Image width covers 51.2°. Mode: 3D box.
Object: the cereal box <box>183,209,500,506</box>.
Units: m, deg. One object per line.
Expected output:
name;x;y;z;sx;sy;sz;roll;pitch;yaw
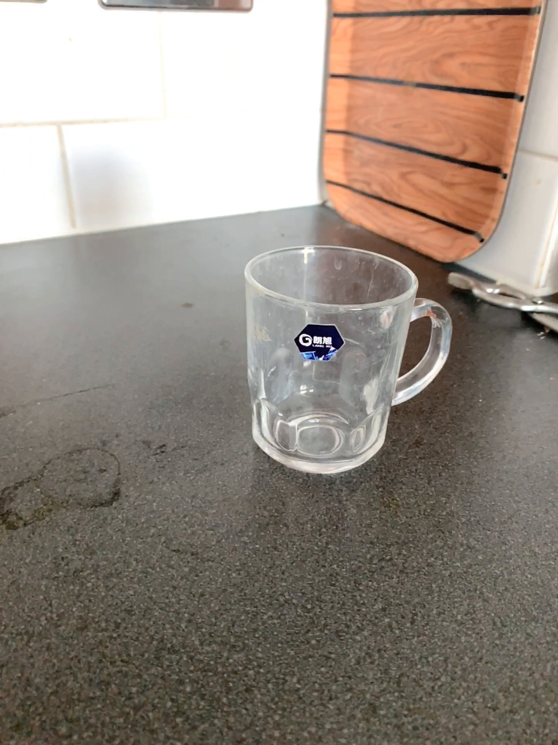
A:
cereal box;0.025;-0.016;0.272;0.110;0.089;0.080;-16;34;-28
